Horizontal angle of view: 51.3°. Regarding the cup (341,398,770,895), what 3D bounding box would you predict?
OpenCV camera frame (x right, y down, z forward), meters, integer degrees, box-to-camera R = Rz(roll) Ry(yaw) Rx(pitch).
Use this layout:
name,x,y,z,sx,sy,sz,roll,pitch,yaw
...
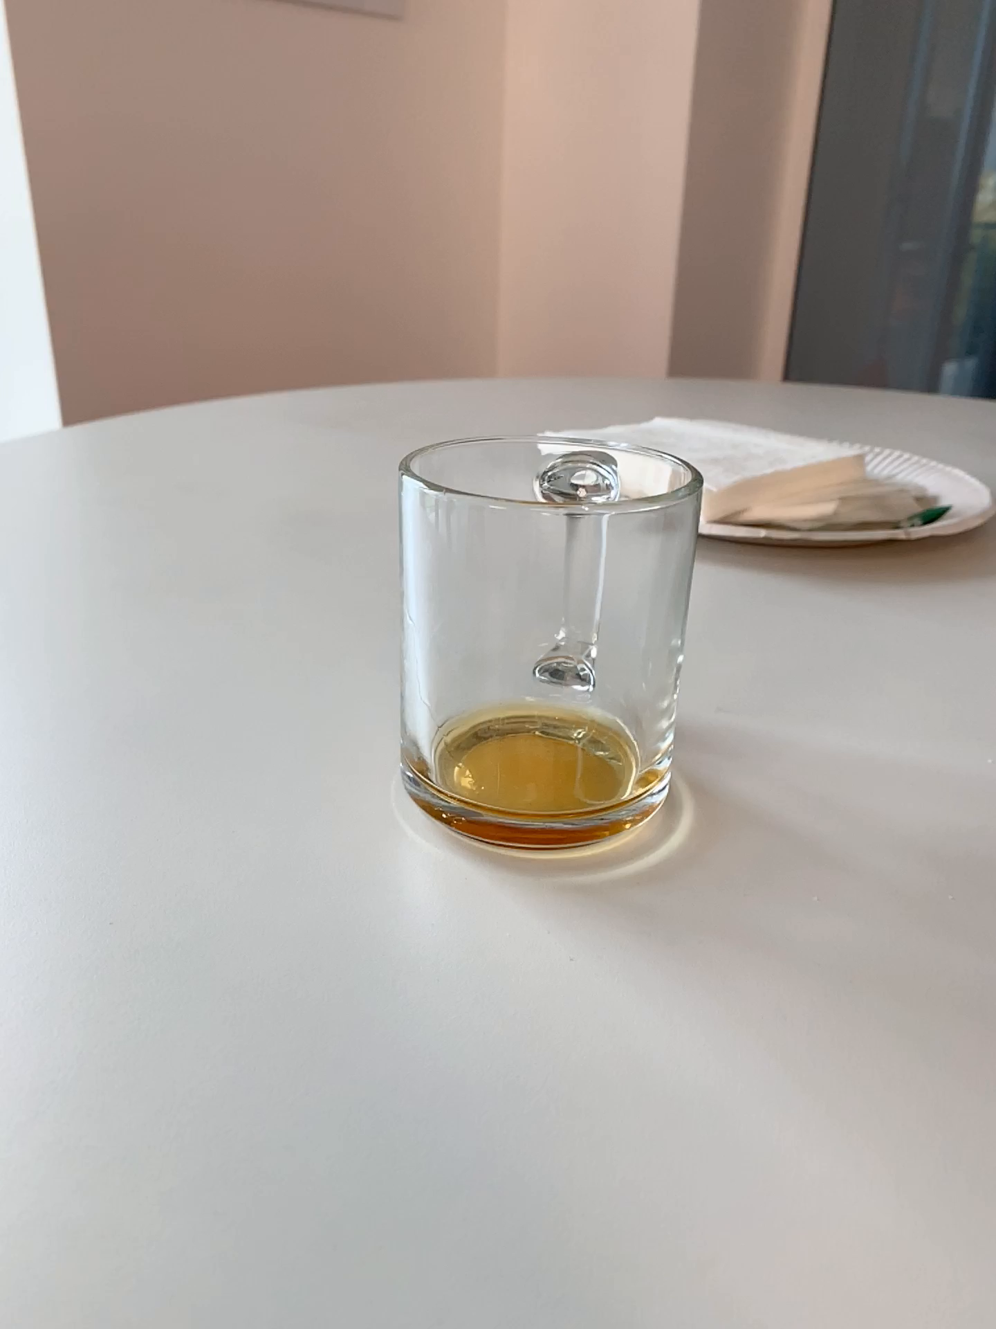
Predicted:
name,x,y,z,sx,sy,sz,roll,pitch,yaw
cup,0.020,-0.014,0.278,0.082,0.090,0.102,10,25,17
